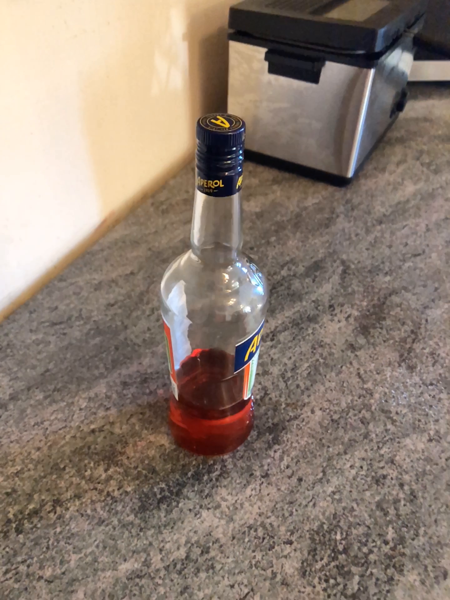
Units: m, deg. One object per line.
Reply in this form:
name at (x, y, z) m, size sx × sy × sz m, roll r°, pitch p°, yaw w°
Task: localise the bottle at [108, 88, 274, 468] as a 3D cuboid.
bottle at (-0.019, 0.010, 0.414) m, size 0.090 × 0.328 × 0.091 m, roll 1°, pitch 42°, yaw -1°
